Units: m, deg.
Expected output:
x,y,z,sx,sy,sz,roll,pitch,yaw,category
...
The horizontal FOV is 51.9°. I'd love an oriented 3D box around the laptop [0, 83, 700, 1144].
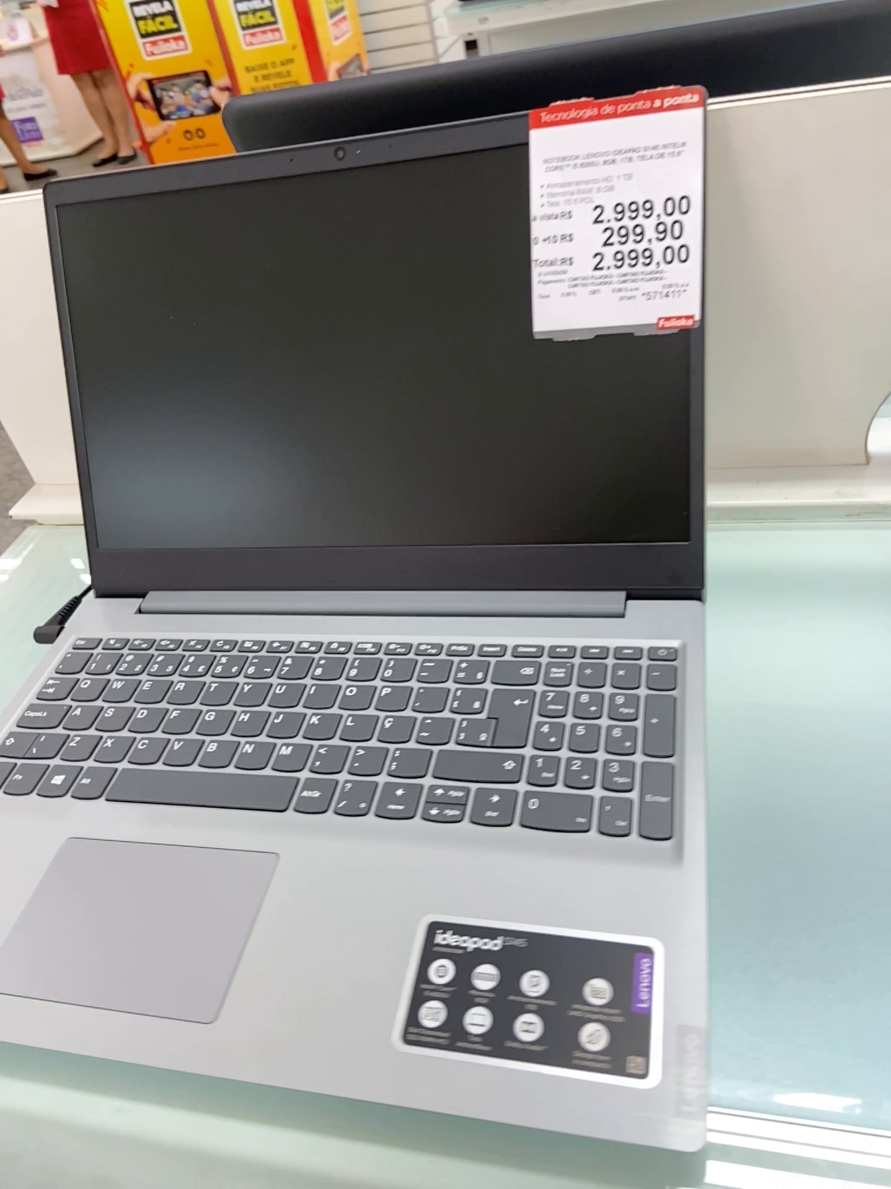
x,y,z,sx,sy,sz,roll,pitch,yaw,category
-0.077,-0.035,0.391,0.354,0.195,0.371,0,41,16,laptop
